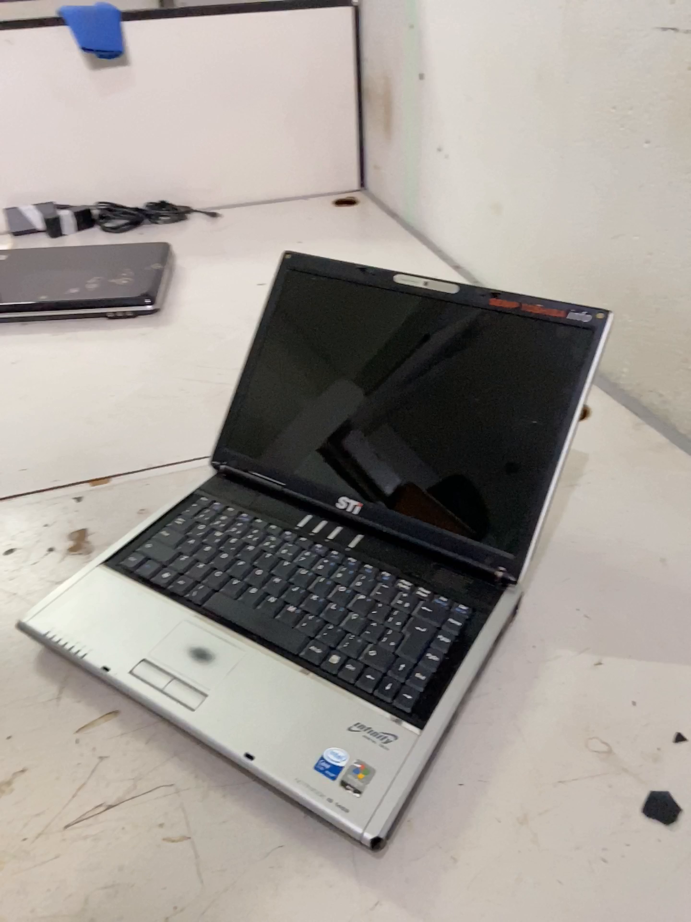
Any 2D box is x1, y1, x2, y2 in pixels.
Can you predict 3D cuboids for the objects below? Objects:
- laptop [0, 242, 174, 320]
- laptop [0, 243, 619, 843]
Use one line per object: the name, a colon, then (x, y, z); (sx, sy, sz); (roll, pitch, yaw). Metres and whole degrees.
laptop: (-0.457, -0.290, 1.130); (0.337, 0.018, 0.200); (-2, 41, 2)
laptop: (-0.017, -0.001, 0.561); (0.325, 0.167, 0.388); (18, 43, 28)
